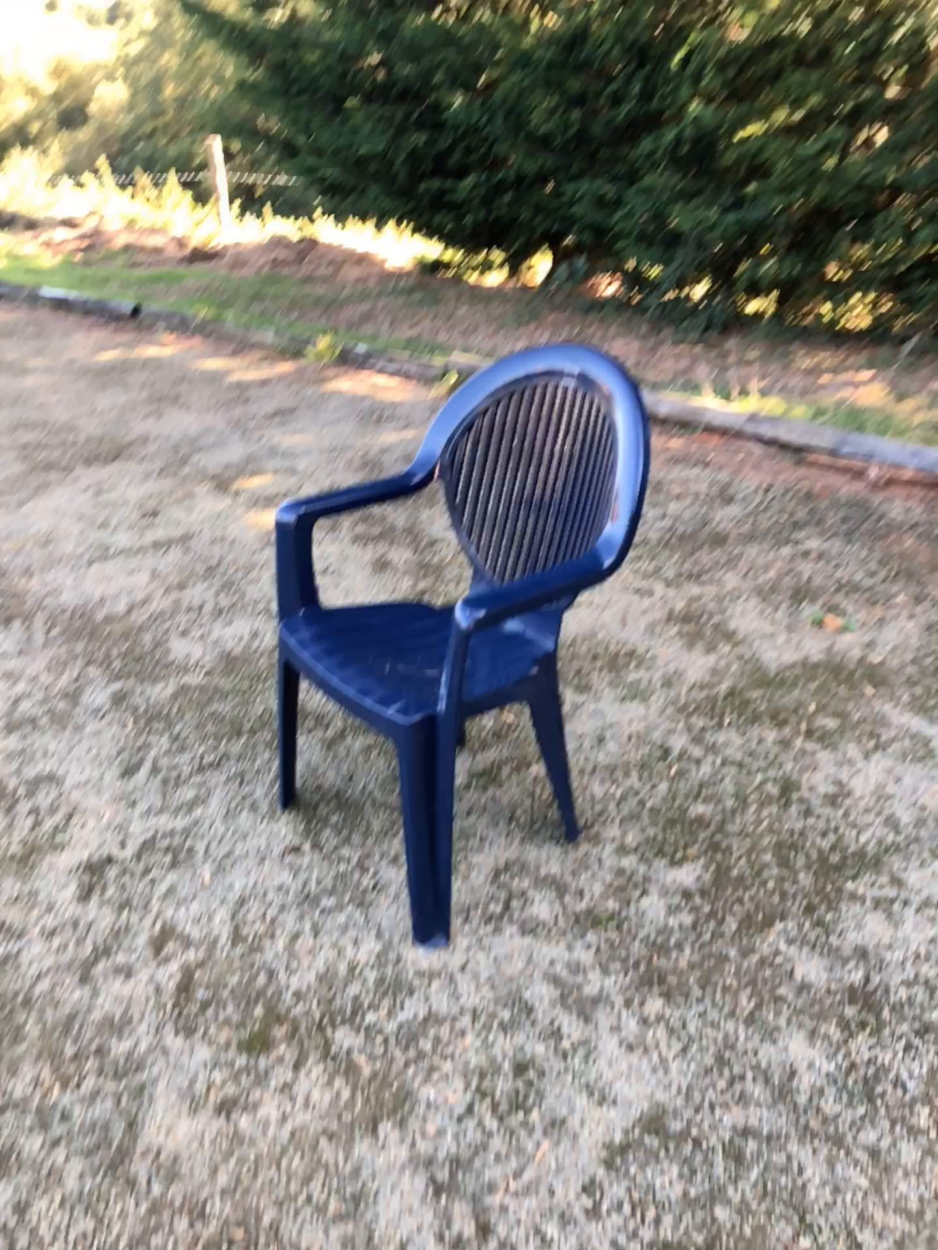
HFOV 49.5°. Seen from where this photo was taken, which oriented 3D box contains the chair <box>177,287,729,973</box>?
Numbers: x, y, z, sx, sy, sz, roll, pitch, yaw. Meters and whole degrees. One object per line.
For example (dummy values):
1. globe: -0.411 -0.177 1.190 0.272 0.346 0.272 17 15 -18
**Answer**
1. chair: -0.028 -0.048 1.699 0.573 0.855 0.591 -22 34 -34
